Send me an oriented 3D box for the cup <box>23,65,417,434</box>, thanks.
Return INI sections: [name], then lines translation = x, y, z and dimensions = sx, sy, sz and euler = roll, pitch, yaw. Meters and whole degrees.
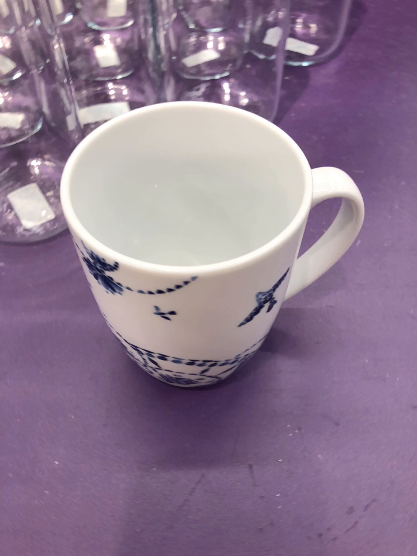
[cup]
translation = 0.003, -0.010, 0.224
dimensions = 0.140, 0.119, 0.101
euler = -12, 55, -9
